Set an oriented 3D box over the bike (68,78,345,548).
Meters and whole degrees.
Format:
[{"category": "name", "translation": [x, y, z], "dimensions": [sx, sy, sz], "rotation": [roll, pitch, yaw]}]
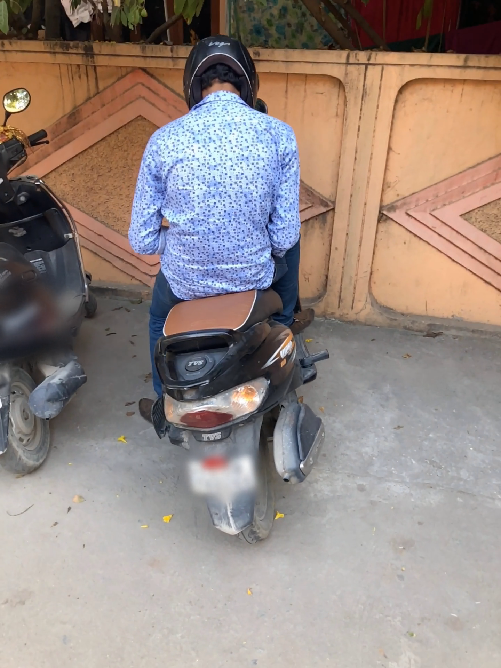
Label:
[{"category": "bike", "translation": [-0.184, -0.204, 2.013], "dimensions": [0.628, 1.038, 1.327], "rotation": [-1, 33, -5]}]
